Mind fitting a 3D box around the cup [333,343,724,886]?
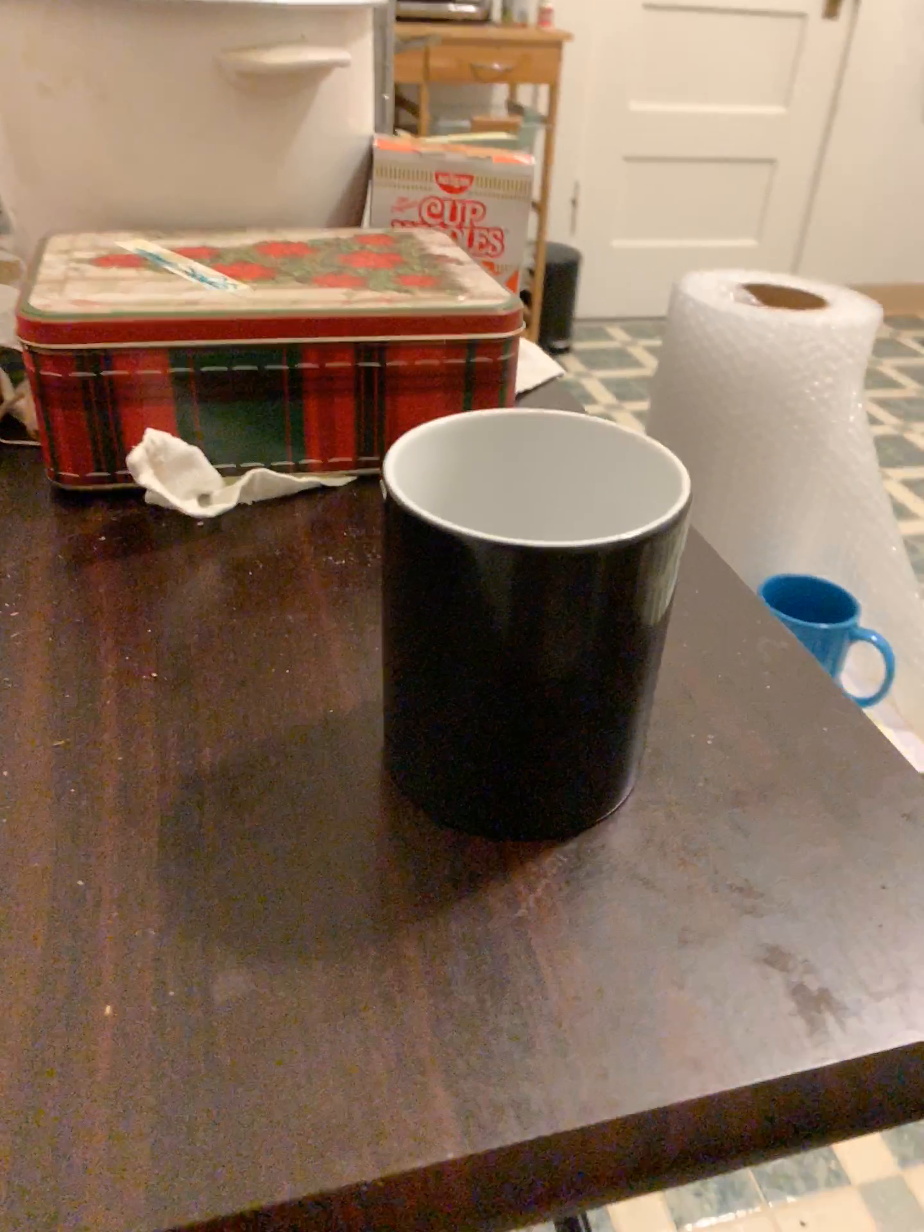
[{"bbox_3d":[0.025,-0.010,0.293,0.080,0.099,0.131,12,35,13],"label":"cup"}]
